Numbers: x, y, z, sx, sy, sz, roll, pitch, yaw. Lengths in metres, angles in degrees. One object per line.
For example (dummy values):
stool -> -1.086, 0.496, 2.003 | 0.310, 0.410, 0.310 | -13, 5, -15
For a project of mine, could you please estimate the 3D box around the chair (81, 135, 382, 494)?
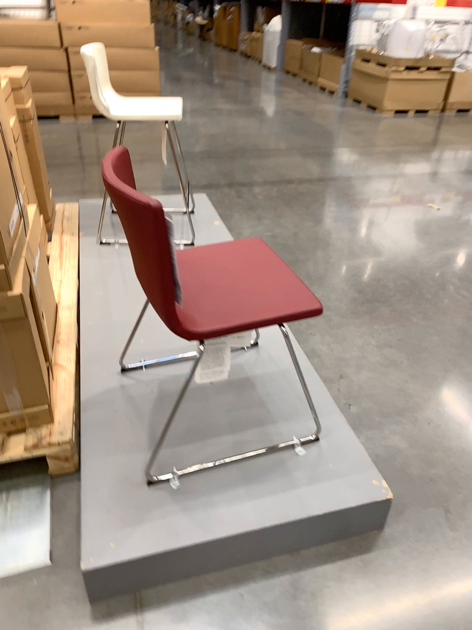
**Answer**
chair -> -0.063, -0.037, 1.305 | 0.550, 0.726, 0.533 | -10, 35, -18
